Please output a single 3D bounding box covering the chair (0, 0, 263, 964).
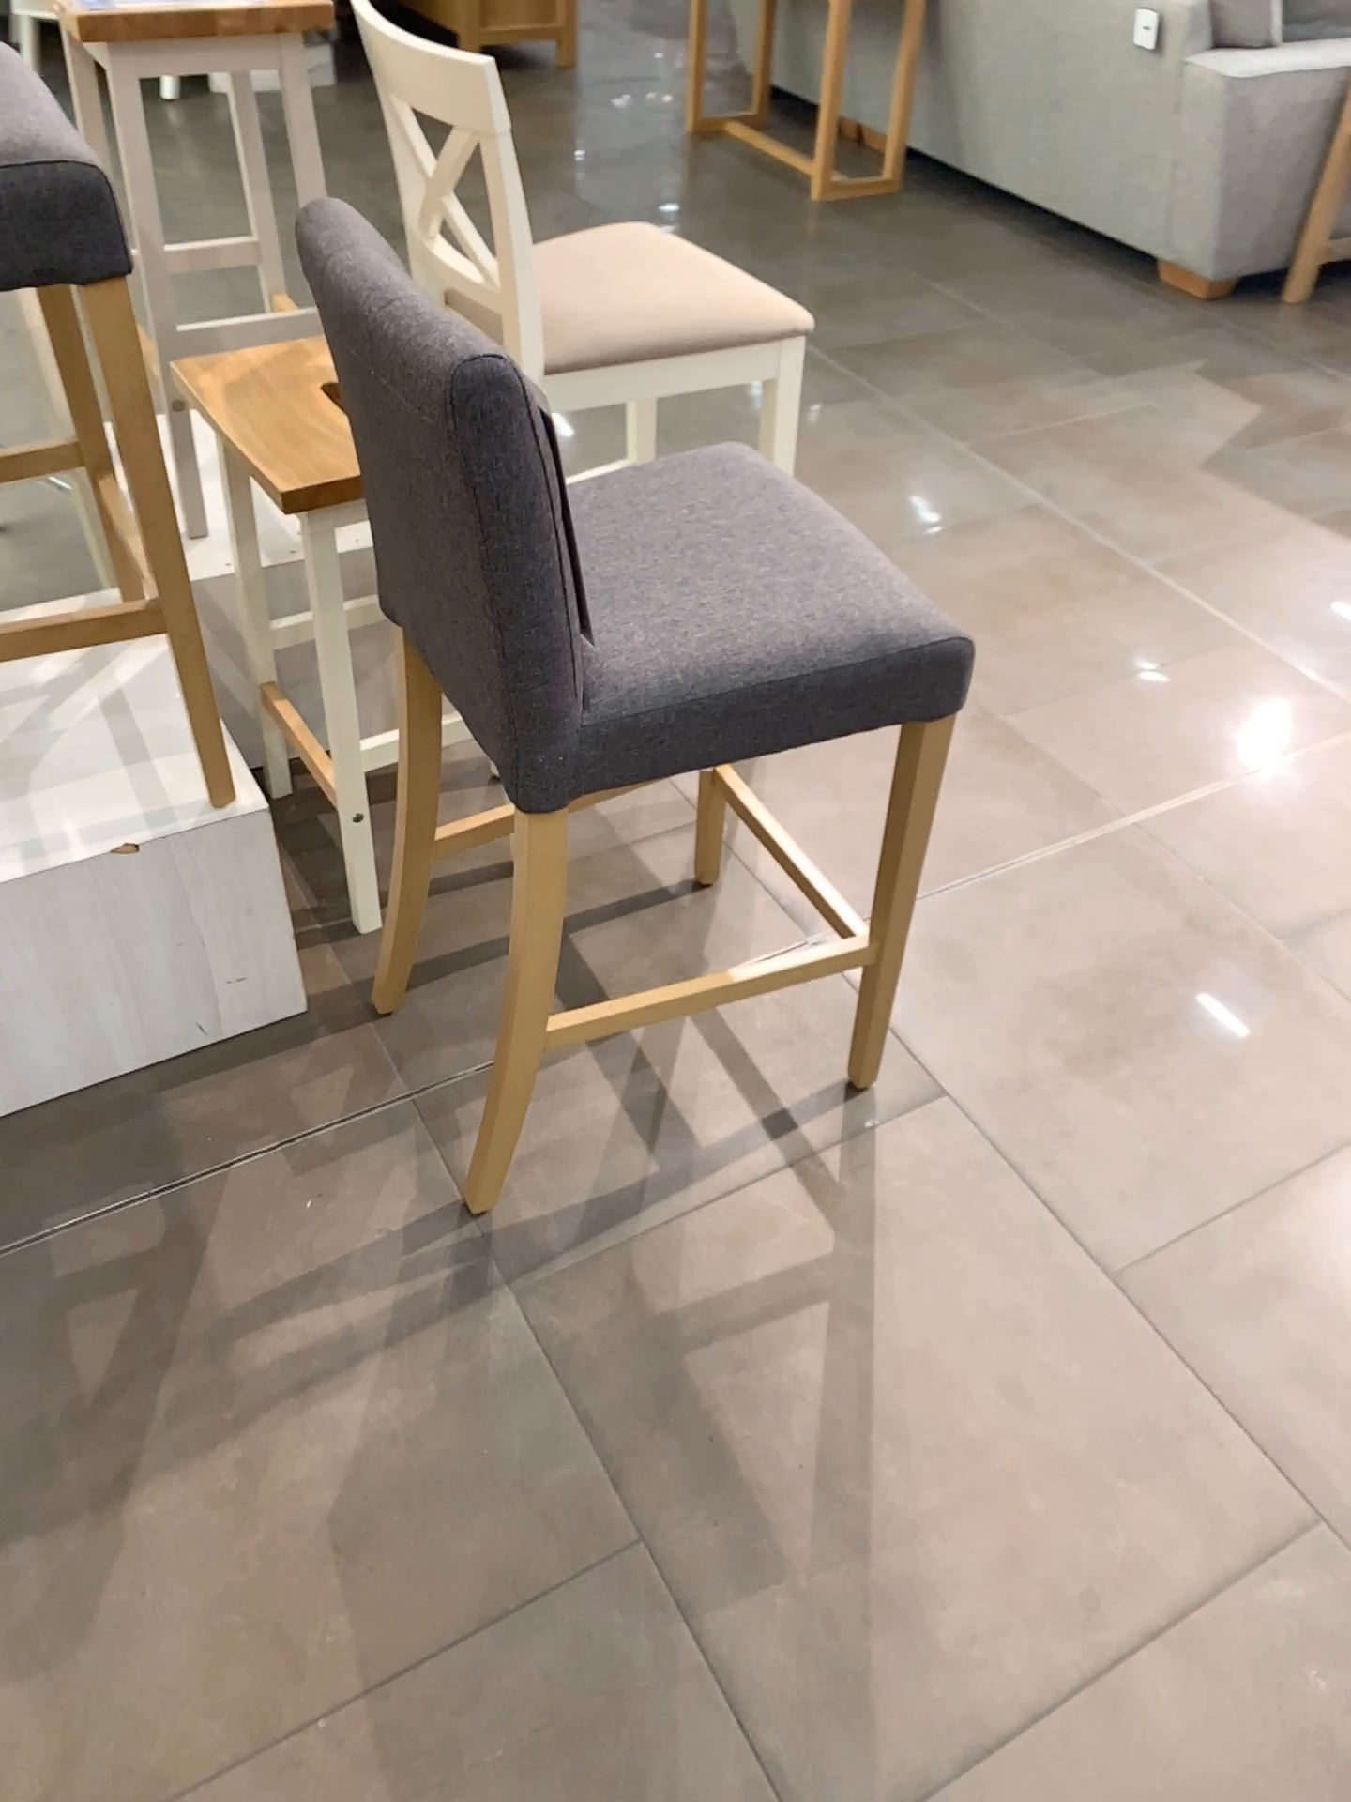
[{"bbox_3d":[-0.792,-0.532,1.232,0.540,0.918,0.550,-20,47,-23],"label":"chair"}]

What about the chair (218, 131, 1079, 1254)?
[{"bbox_3d":[-0.056,-0.193,1.406,0.519,0.908,0.490,-19,46,-22],"label":"chair"}]

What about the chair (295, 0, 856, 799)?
[{"bbox_3d":[-0.150,-0.729,1.979,0.500,0.938,0.510,-20,47,-23],"label":"chair"}]
